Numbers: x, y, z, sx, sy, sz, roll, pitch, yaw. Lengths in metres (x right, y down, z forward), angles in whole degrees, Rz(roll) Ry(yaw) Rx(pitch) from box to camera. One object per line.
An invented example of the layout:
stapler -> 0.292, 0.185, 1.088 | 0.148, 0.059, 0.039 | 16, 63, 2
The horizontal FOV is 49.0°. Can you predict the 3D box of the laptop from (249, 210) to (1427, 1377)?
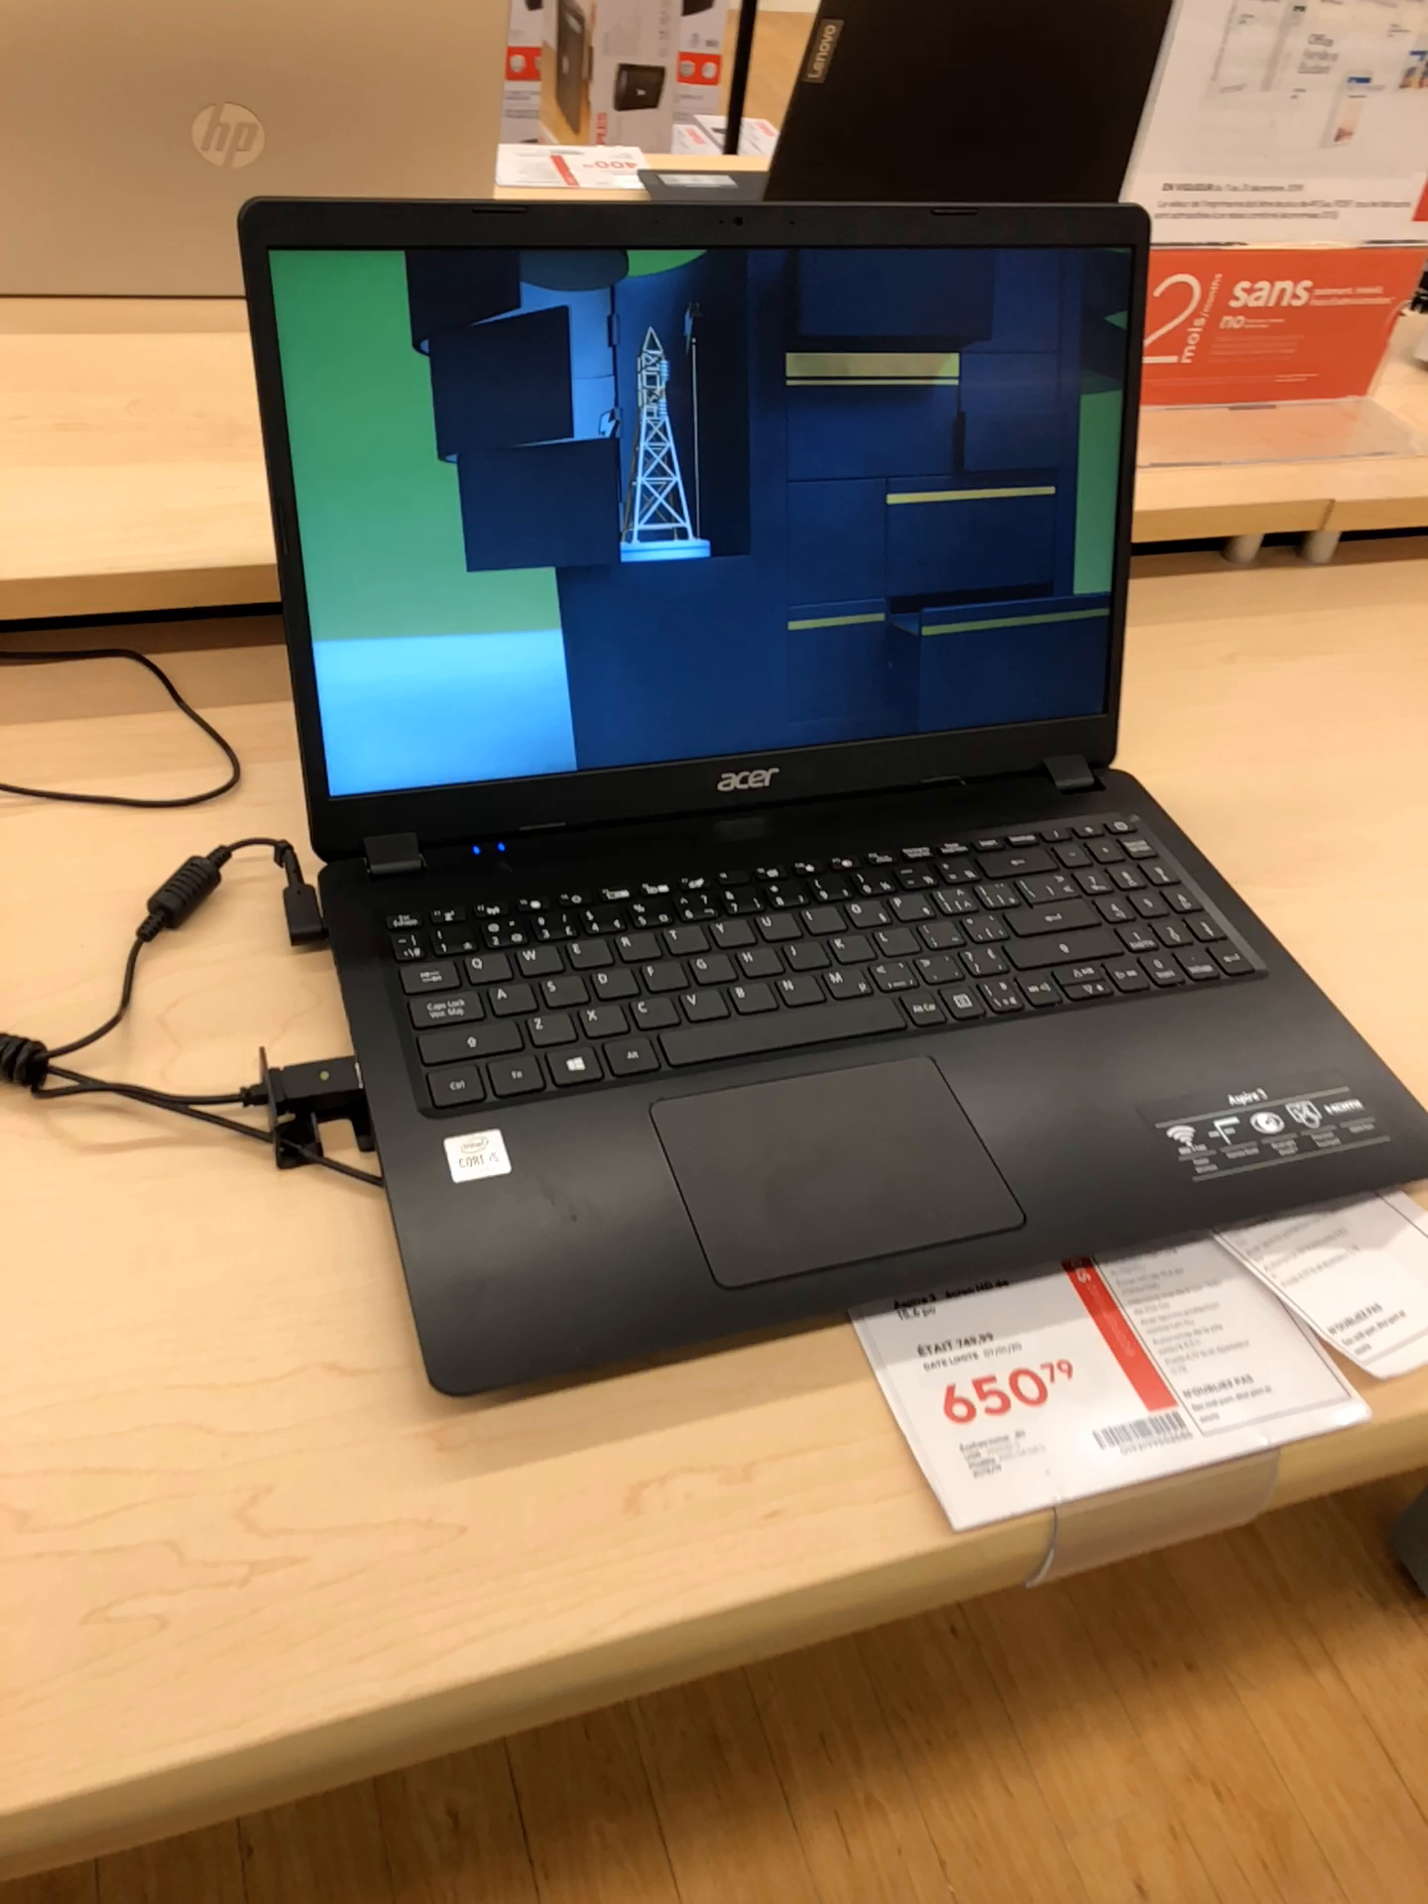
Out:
laptop -> 0.053, -0.085, 0.534 | 0.354, 0.210, 0.328 | -8, 44, -17
